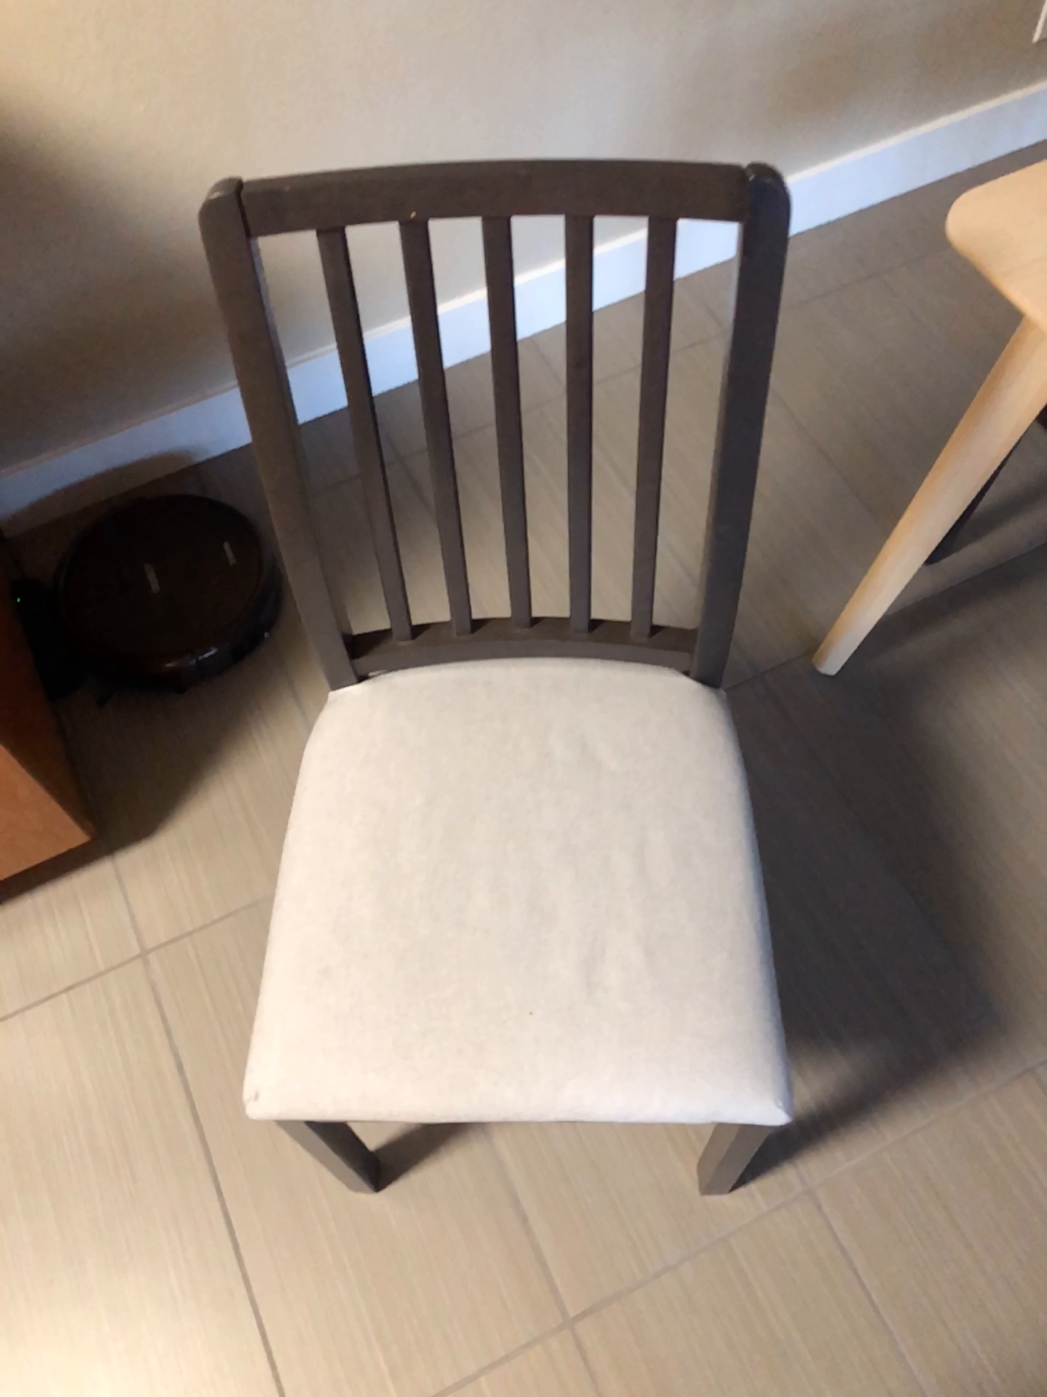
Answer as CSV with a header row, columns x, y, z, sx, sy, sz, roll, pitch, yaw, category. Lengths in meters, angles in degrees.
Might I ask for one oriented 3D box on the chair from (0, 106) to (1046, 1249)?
x,y,z,sx,sy,sz,roll,pitch,yaw,category
-0.003,0.092,0.970,0.580,0.848,0.591,-1,59,3,chair
